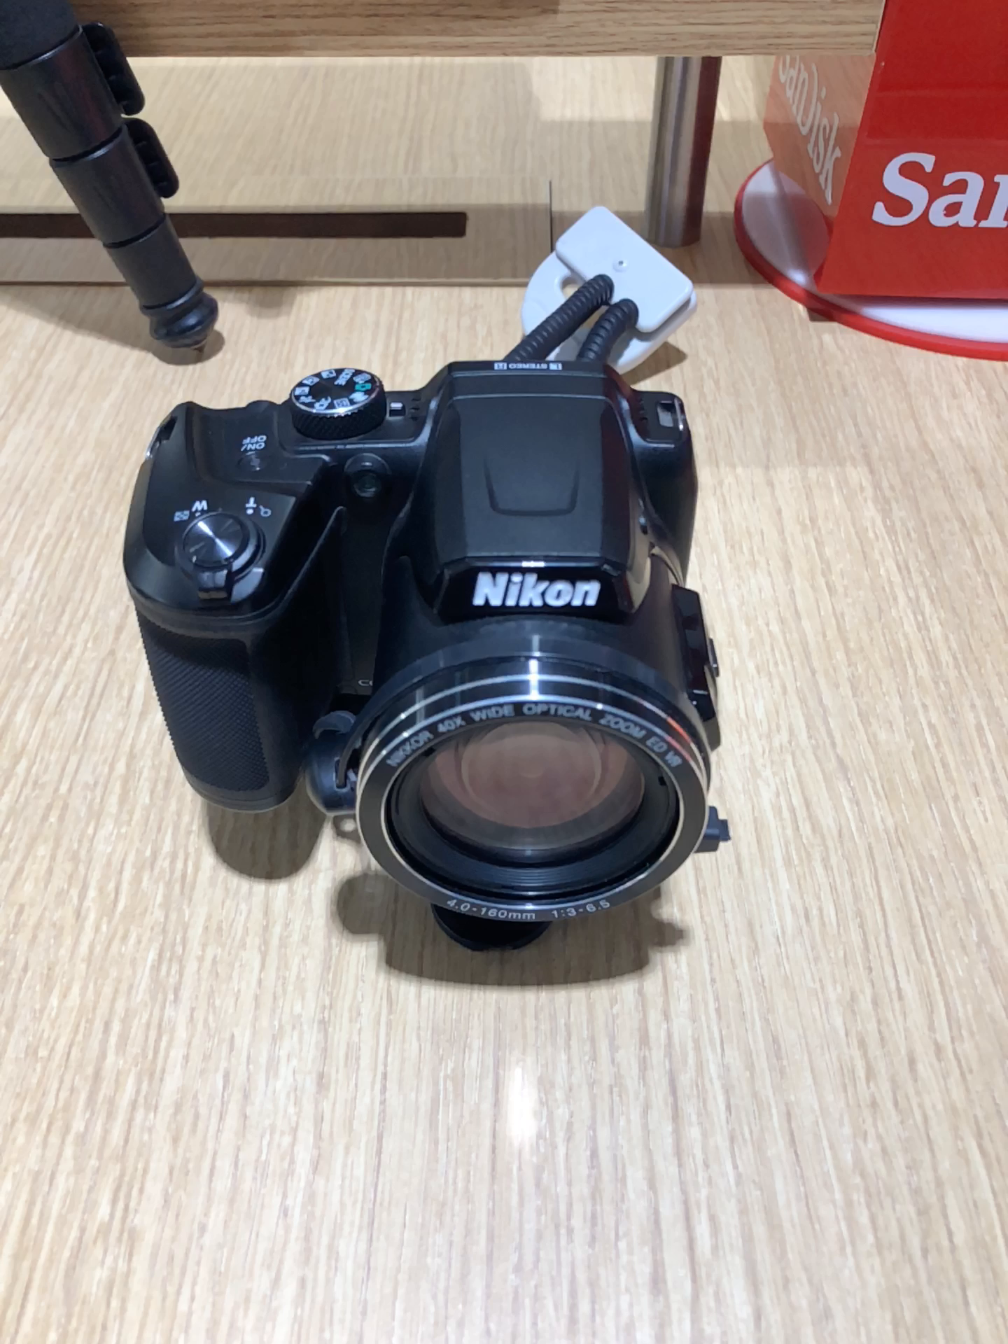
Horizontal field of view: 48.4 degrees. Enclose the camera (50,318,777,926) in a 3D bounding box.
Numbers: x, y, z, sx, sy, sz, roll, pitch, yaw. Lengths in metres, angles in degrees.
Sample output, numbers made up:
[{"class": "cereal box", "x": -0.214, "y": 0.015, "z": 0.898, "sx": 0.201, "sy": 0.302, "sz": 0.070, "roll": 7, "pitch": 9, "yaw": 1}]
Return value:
[{"class": "camera", "x": -0.013, "y": -0.011, "z": 0.216, "sx": 0.103, "sy": 0.070, "sz": 0.093, "roll": -1, "pitch": 47, "yaw": -1}]
